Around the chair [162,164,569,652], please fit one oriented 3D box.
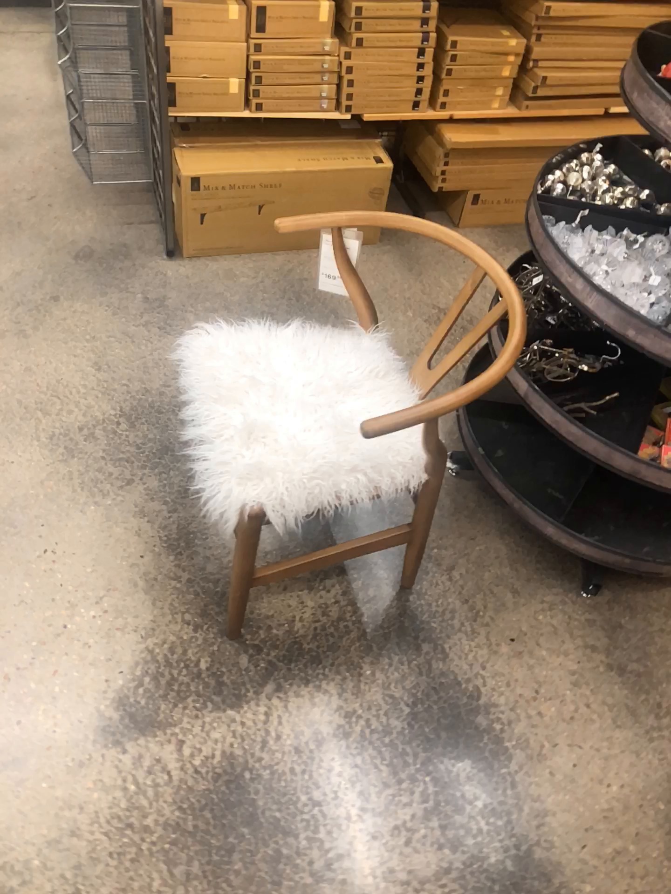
[{"bbox_3d":[-0.030,-0.062,1.429,0.529,0.732,0.559,-5,50,-14],"label":"chair"}]
